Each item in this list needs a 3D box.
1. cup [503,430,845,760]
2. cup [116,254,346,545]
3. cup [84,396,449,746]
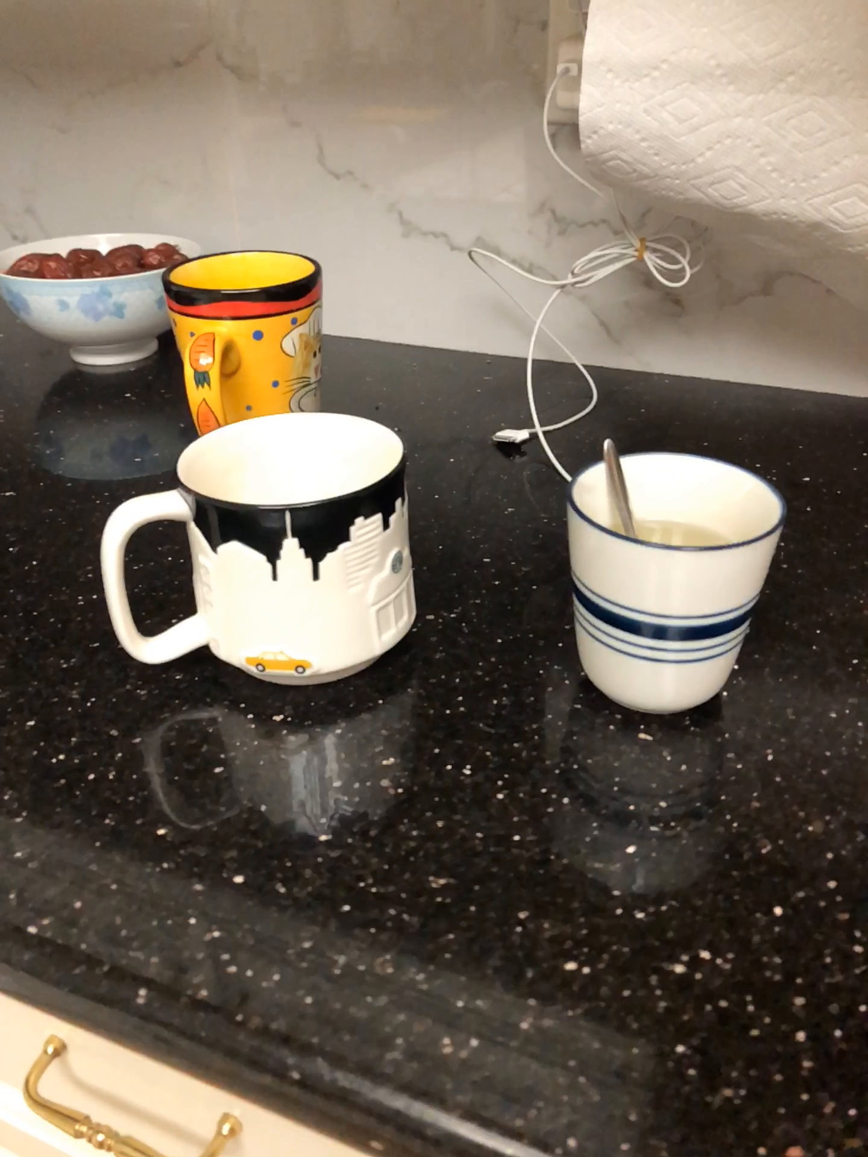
[{"bbox_3d":[0.096,0.000,0.434,0.100,0.080,0.141,-5,31,-7],"label":"cup"},{"bbox_3d":[-0.108,-0.109,0.557,0.090,0.129,0.131,1,31,3],"label":"cup"},{"bbox_3d":[-0.079,-0.011,0.450,0.140,0.099,0.111,-12,33,-18],"label":"cup"}]
